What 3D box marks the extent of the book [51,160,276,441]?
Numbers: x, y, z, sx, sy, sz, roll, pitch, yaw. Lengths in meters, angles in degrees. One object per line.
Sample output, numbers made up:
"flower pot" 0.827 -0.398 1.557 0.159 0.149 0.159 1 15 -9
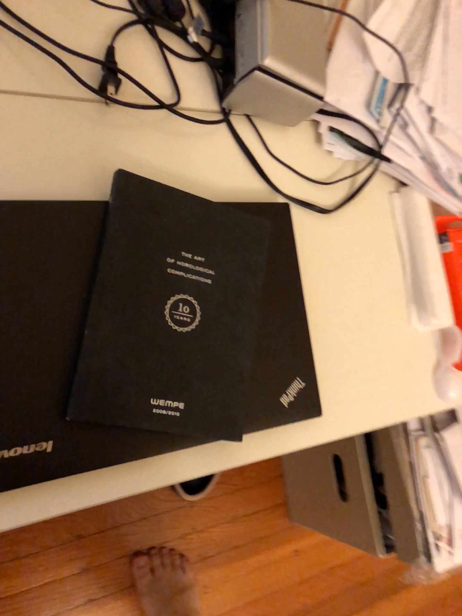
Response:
"book" -0.051 -0.002 0.461 0.170 0.030 0.220 13 75 -24
